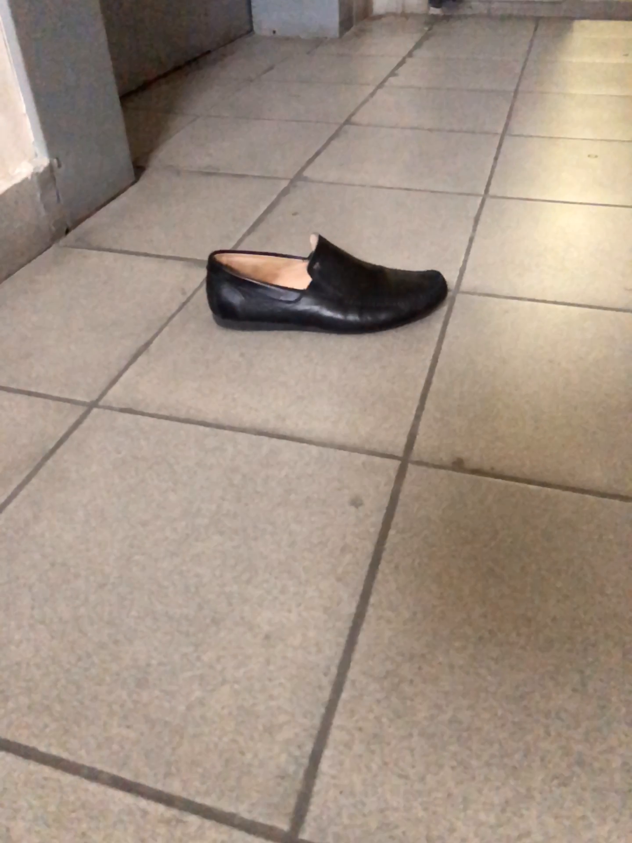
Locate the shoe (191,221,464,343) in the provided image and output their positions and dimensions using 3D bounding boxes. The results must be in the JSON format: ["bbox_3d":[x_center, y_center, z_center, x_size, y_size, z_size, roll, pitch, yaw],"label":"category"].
[{"bbox_3d":[0.012,-0.152,0.747,0.270,0.079,0.108,-2,39,2],"label":"shoe"}]
